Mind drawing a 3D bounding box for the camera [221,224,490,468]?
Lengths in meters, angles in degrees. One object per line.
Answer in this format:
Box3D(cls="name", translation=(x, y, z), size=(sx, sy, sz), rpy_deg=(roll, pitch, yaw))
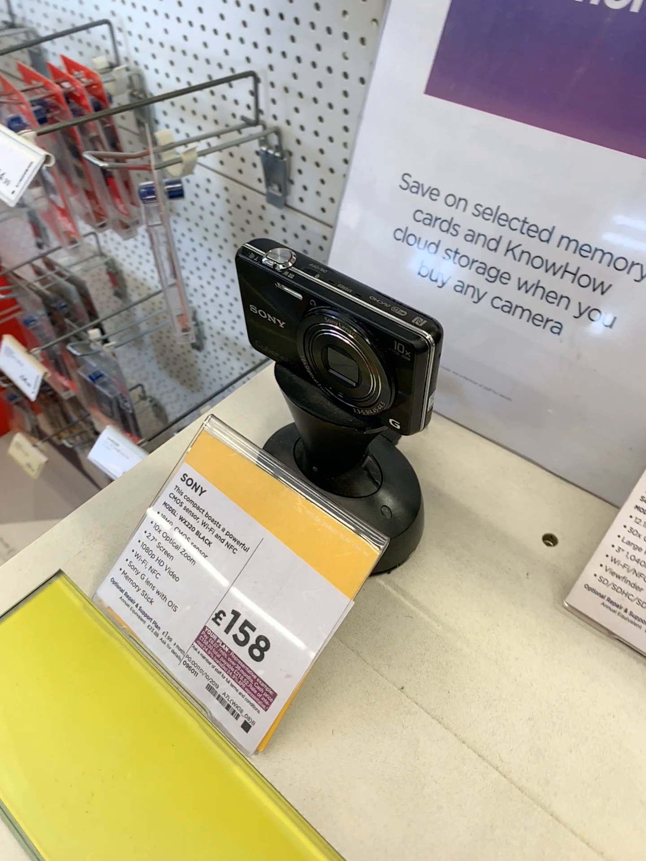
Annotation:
Box3D(cls="camera", translation=(0.009, -0.035, 0.260), size=(0.100, 0.050, 0.030), rpy_deg=(32, 57, 26))
